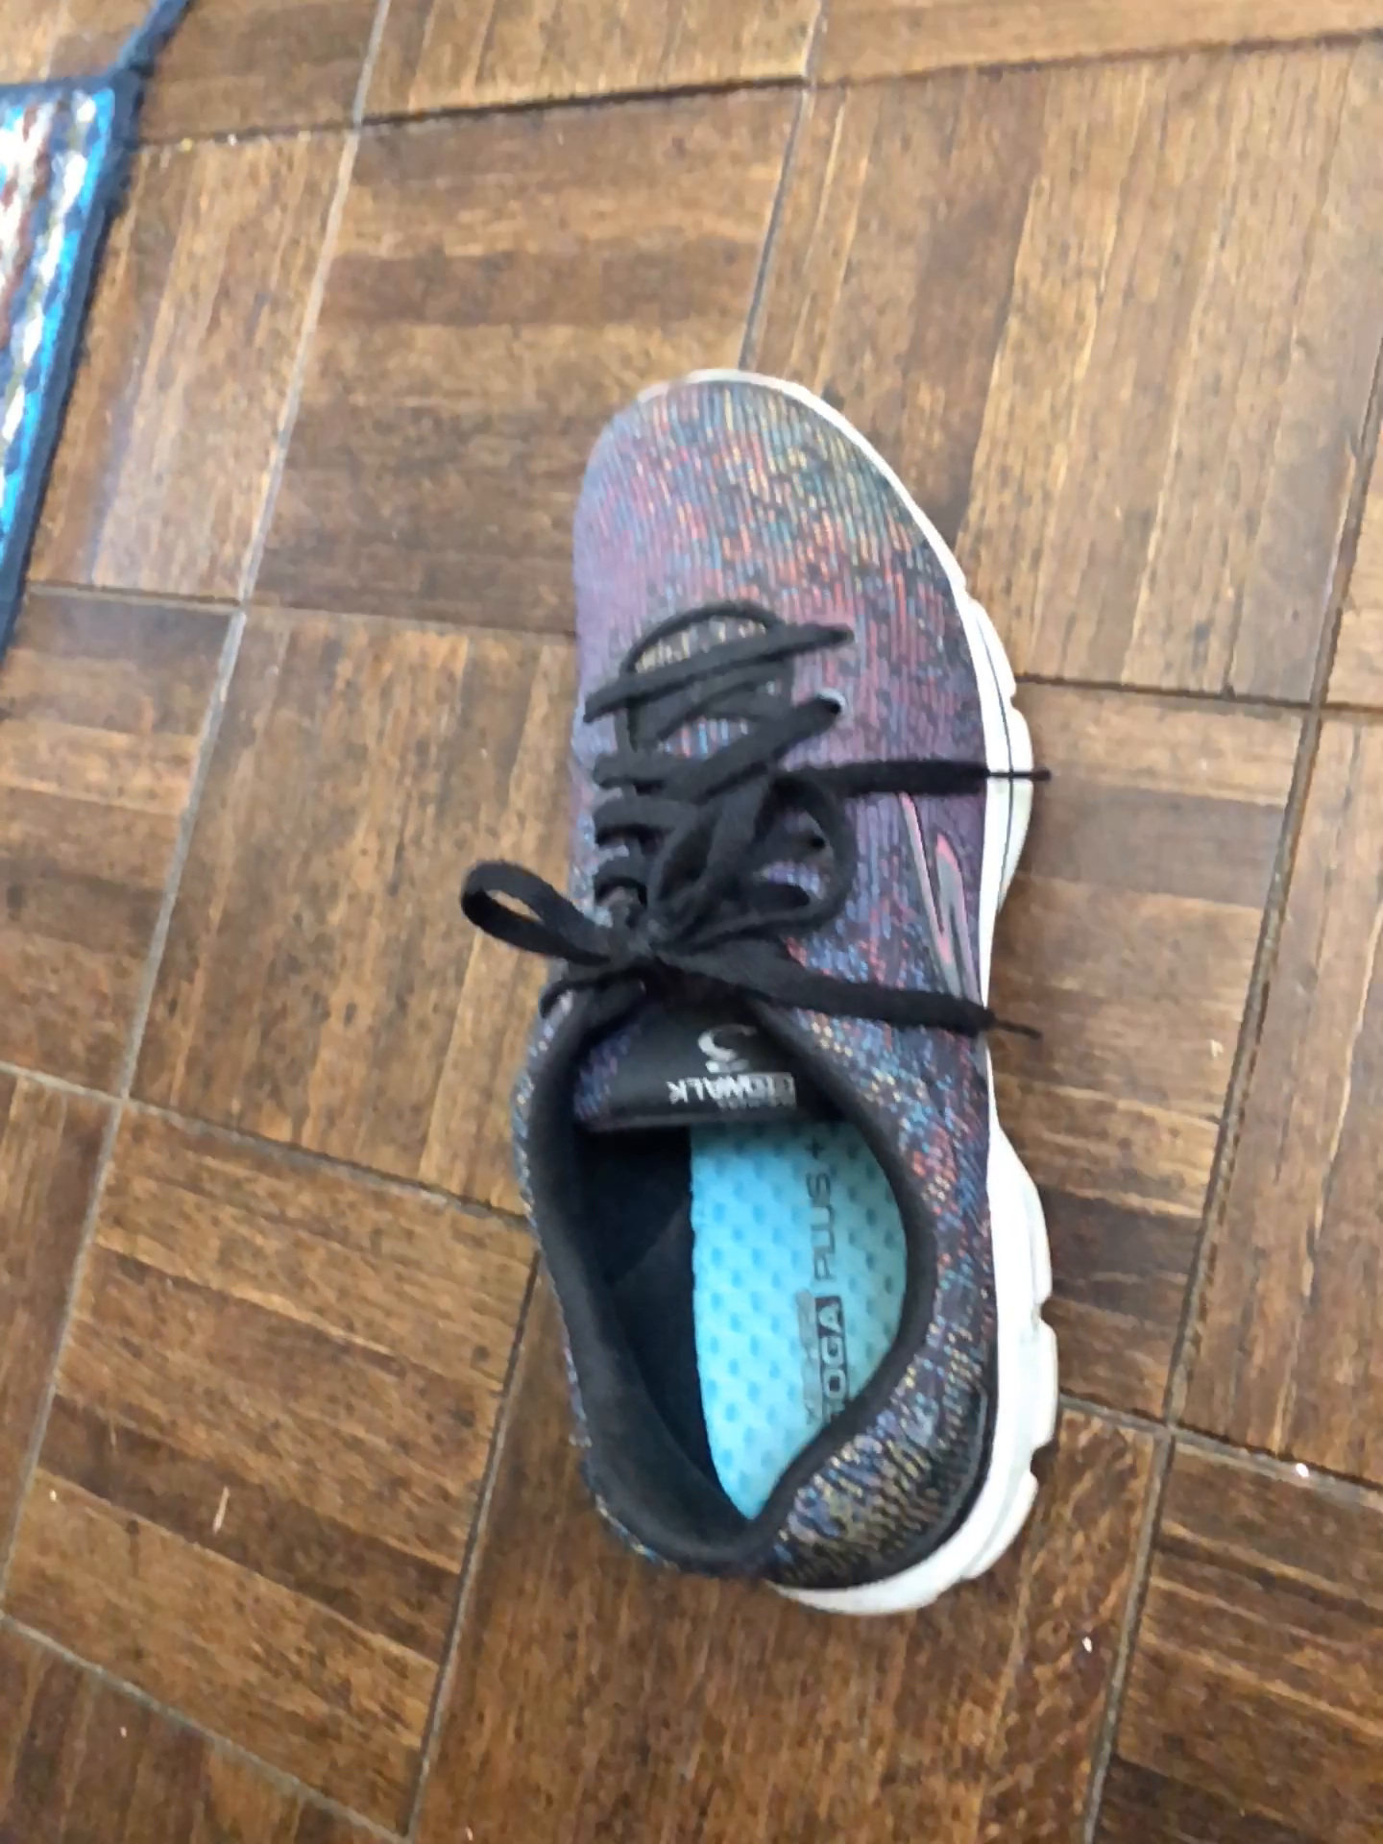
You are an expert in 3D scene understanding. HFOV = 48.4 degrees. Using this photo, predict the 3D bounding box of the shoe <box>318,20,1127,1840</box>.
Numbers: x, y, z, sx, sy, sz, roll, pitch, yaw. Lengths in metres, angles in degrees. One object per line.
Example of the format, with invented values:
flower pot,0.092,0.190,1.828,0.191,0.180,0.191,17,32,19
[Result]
shoe,0.007,0.001,0.317,0.110,0.120,0.290,-8,78,25
